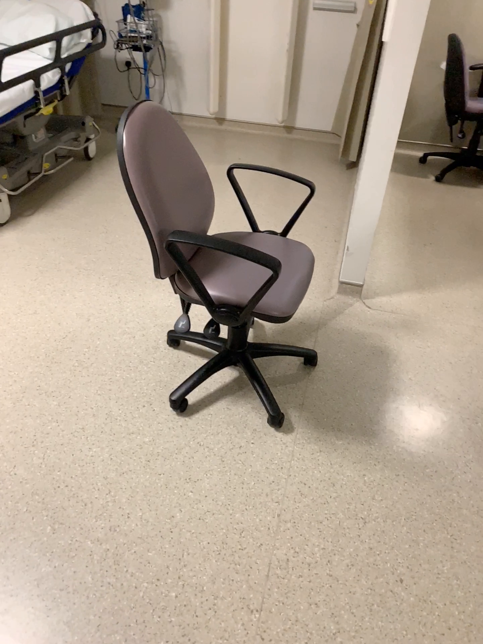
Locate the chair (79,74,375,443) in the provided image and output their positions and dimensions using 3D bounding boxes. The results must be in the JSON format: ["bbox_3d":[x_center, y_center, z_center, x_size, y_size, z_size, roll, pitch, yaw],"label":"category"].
[{"bbox_3d":[-0.003,-0.221,1.591,0.654,0.899,0.638,11,37,10],"label":"chair"}]
